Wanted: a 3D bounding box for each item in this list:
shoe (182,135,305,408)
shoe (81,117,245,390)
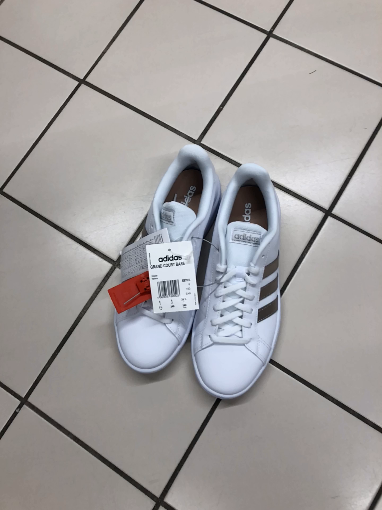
[{"bbox_3d":[0.063,0.017,0.485,0.100,0.100,0.280,6,77,6],"label":"shoe"},{"bbox_3d":[-0.021,-0.001,0.491,0.100,0.100,0.280,14,78,8],"label":"shoe"}]
